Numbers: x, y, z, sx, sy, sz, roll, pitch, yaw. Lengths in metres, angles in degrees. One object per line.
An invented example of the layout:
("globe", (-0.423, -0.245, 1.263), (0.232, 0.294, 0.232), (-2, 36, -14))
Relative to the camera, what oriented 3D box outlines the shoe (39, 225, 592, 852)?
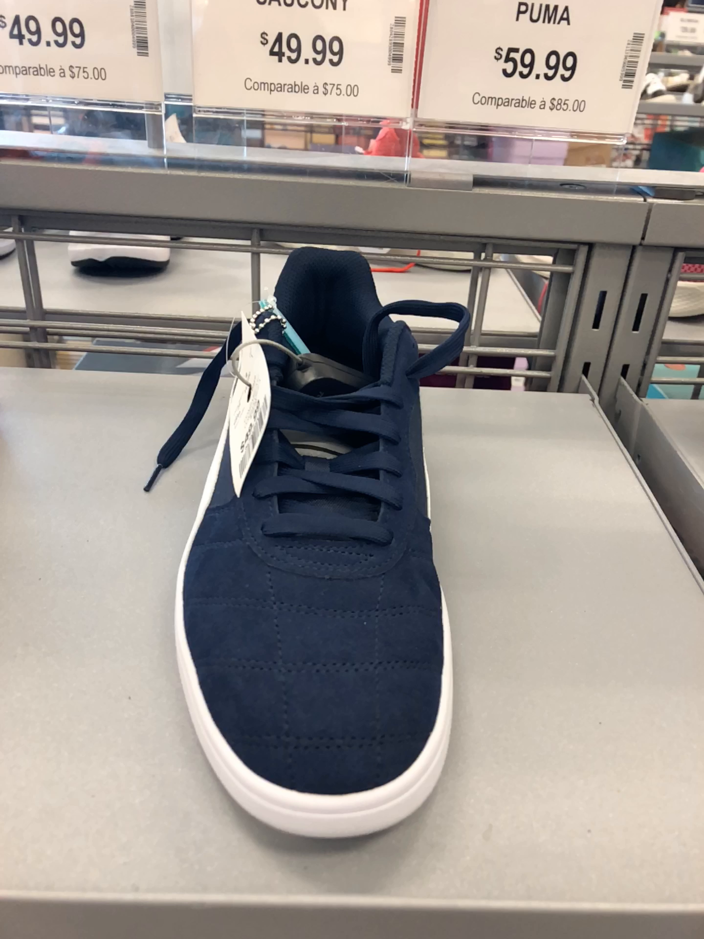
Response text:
("shoe", (-0.014, -0.002, 0.301), (0.119, 0.119, 0.242), (2, 31, -3))
